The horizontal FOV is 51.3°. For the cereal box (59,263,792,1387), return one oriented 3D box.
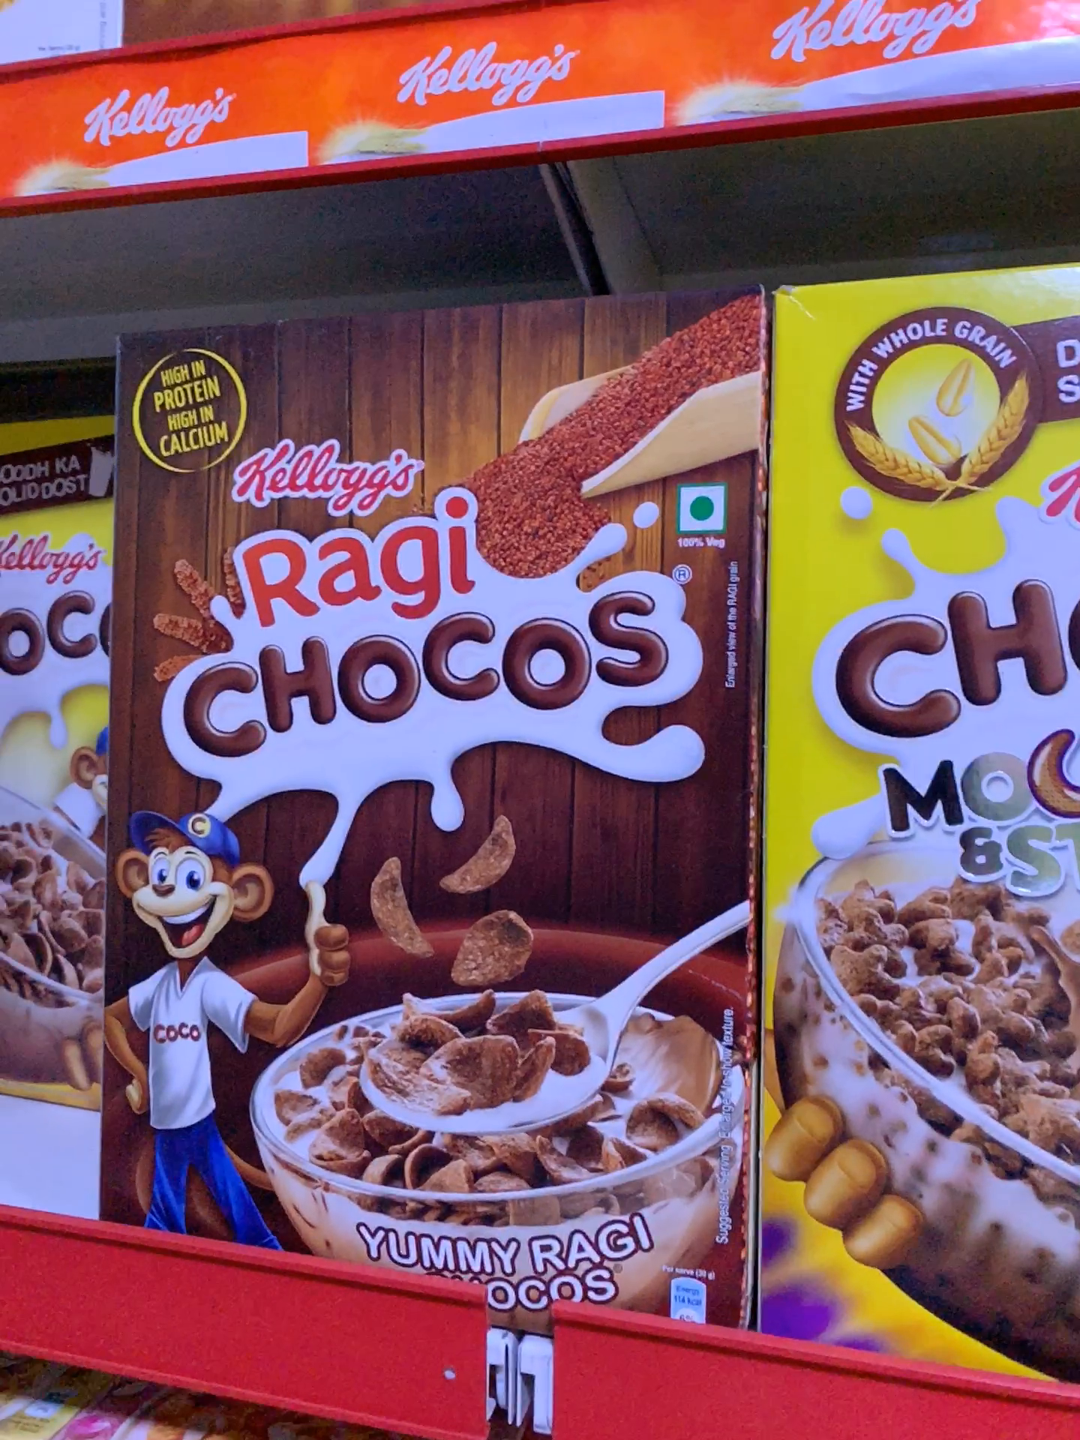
[{"bbox_3d":[-0.030,0.020,0.296,0.180,0.240,0.060,1,0,18],"label":"cereal box"}]
